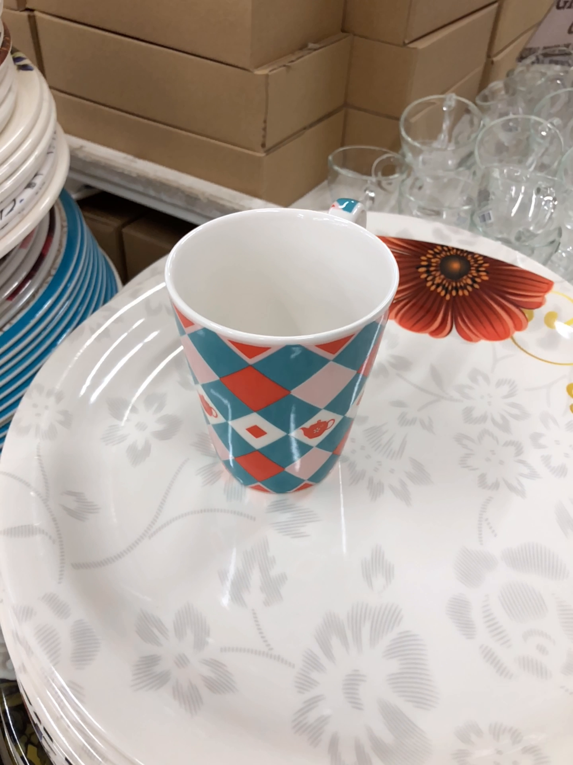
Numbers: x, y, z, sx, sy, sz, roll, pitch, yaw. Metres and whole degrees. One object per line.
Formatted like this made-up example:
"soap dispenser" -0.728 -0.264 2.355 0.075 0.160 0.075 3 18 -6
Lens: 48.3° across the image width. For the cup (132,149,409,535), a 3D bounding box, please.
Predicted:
"cup" 0.000 -0.024 0.284 0.080 0.099 0.131 11 43 7
